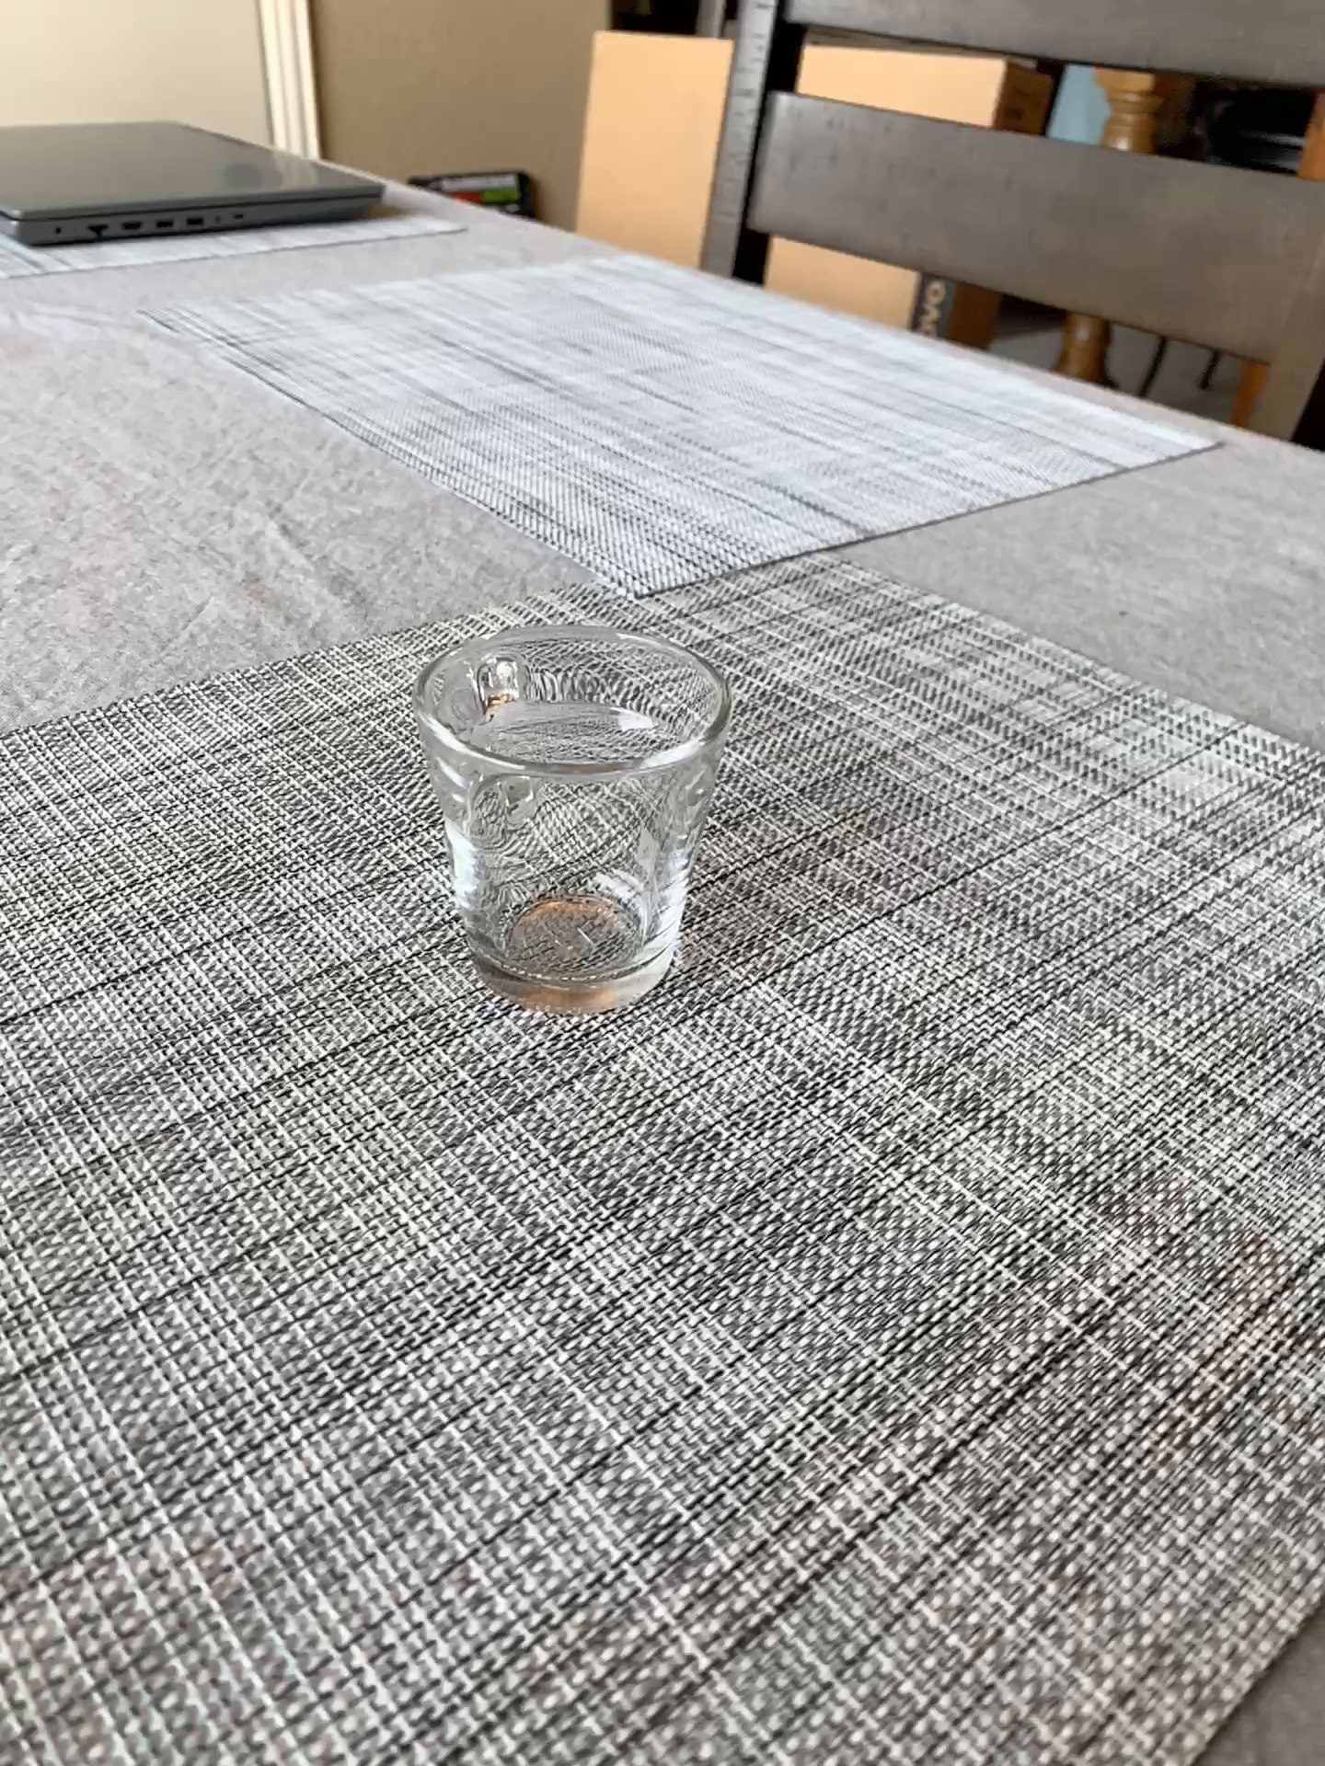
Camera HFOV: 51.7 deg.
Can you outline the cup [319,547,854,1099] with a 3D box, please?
[{"bbox_3d":[-0.017,-0.016,0.264,0.058,0.060,0.083,-24,45,-33],"label":"cup"}]
